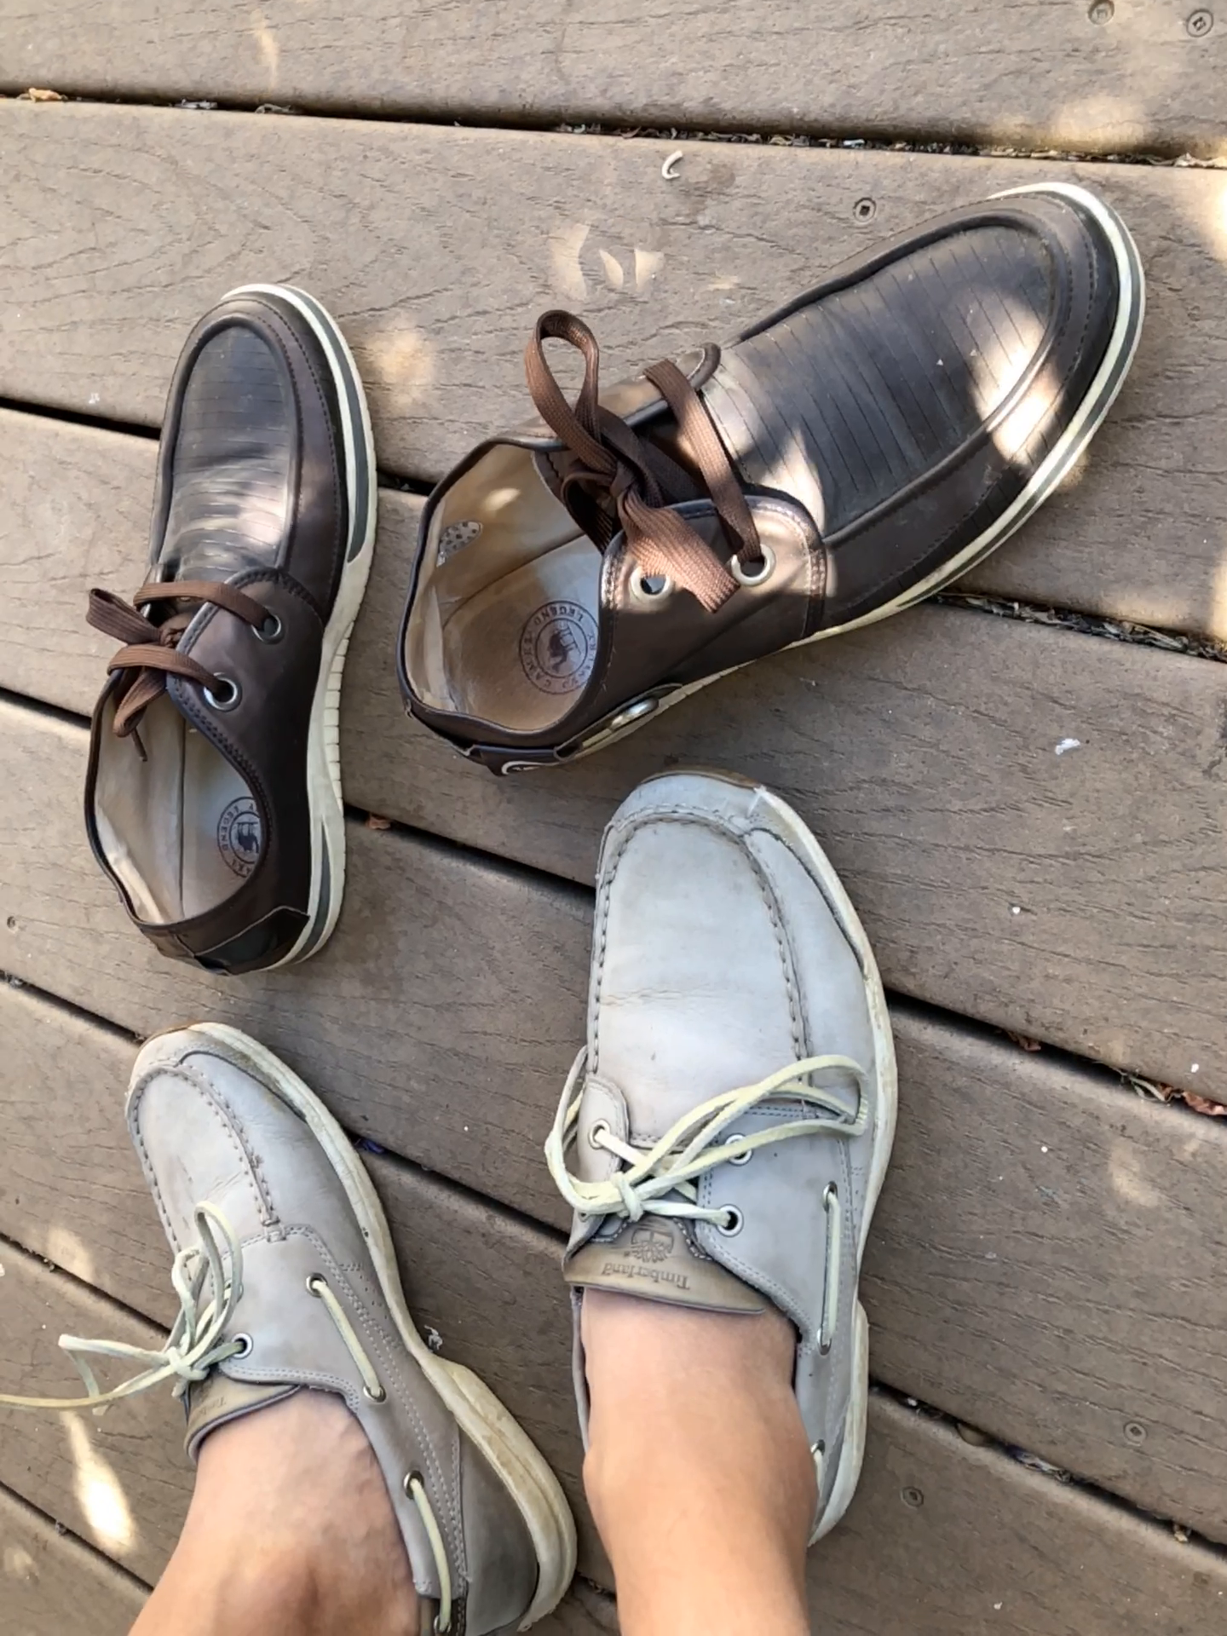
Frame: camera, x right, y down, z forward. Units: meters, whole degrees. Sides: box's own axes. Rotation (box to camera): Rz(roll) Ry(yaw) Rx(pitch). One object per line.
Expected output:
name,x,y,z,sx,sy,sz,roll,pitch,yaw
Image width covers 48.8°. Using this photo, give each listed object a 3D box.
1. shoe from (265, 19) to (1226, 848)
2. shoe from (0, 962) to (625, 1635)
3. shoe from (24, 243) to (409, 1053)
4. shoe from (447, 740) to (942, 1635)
shoe,0.031,-0.097,0.427,0.278,0.079,0.109,-26,84,27
shoe,-0.134,0.216,0.538,0.110,0.086,0.292,-39,78,25
shoe,-0.156,-0.064,0.520,0.110,0.069,0.279,13,103,25
shoe,0.033,0.127,0.447,0.110,0.101,0.293,-3,95,27
